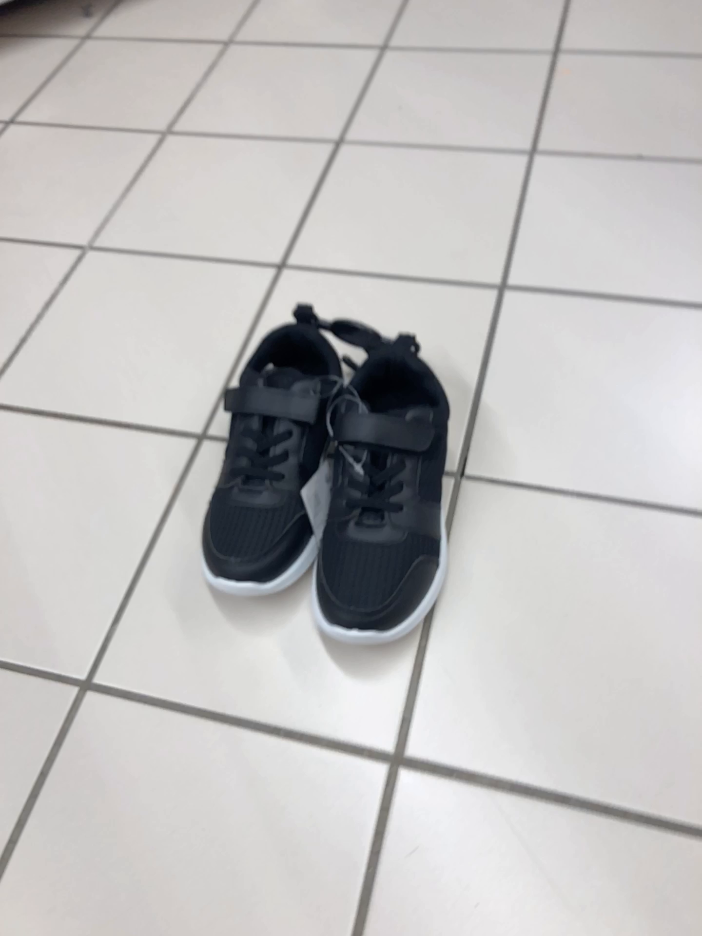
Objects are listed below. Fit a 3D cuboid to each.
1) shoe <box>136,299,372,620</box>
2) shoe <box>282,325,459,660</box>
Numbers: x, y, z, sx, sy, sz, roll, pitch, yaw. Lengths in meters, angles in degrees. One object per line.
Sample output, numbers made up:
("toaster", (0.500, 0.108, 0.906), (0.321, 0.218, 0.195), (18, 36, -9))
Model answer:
("shoe", (-0.056, -0.016, 0.544), (0.097, 0.064, 0.223), (6, 55, 11))
("shoe", (0.022, 0.007, 0.517), (0.097, 0.064, 0.223), (0, 54, 7))
